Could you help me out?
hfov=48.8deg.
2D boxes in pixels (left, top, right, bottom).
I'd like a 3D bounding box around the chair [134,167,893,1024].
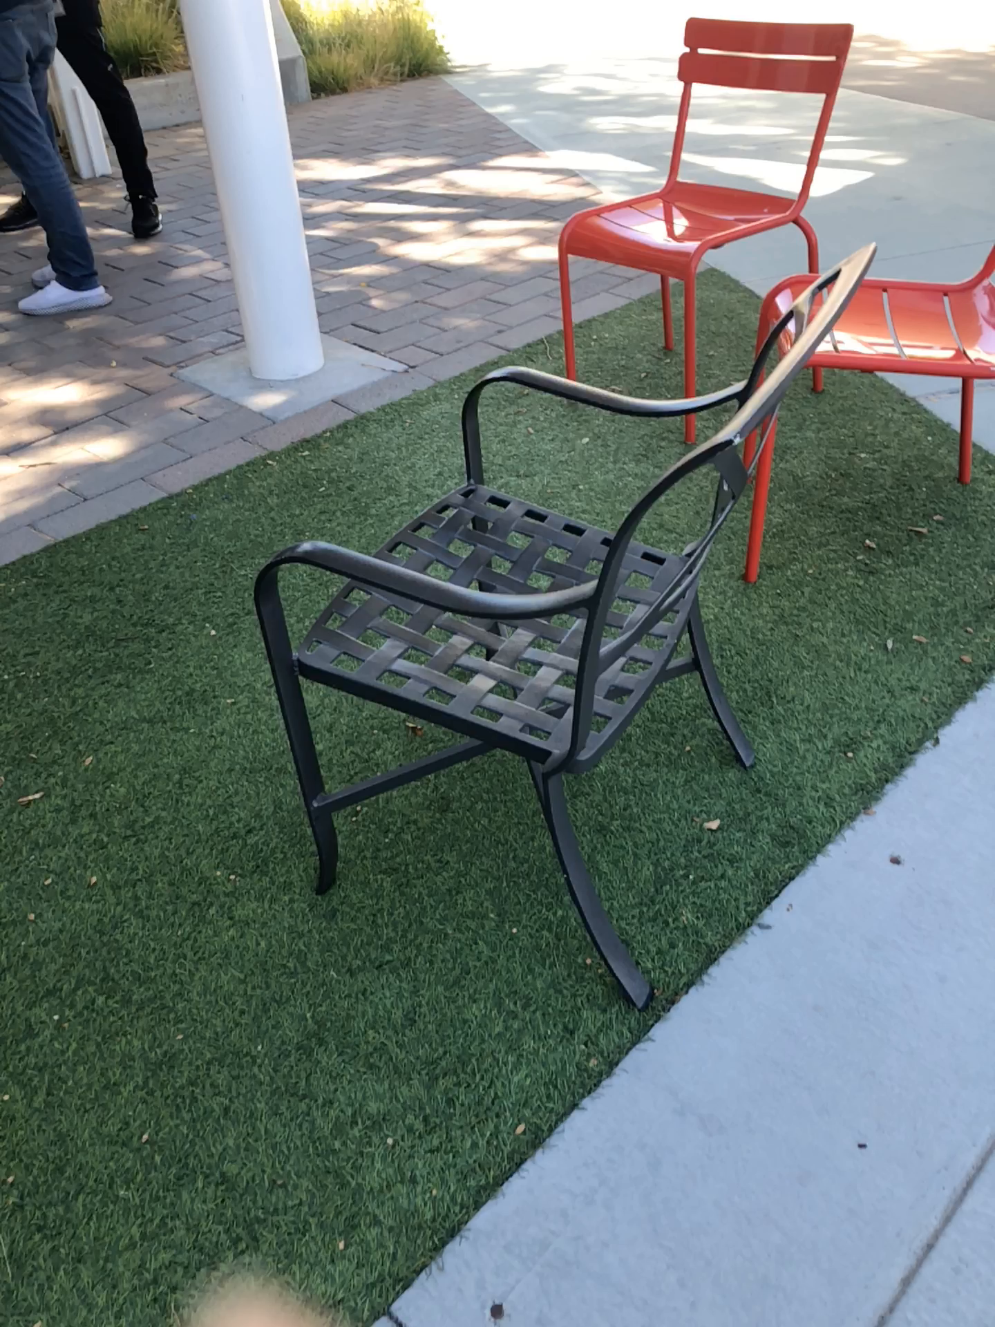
[{"bbox_3d":[0.061,-0.131,1.468,0.641,0.806,0.642,16,40,20],"label":"chair"}]
